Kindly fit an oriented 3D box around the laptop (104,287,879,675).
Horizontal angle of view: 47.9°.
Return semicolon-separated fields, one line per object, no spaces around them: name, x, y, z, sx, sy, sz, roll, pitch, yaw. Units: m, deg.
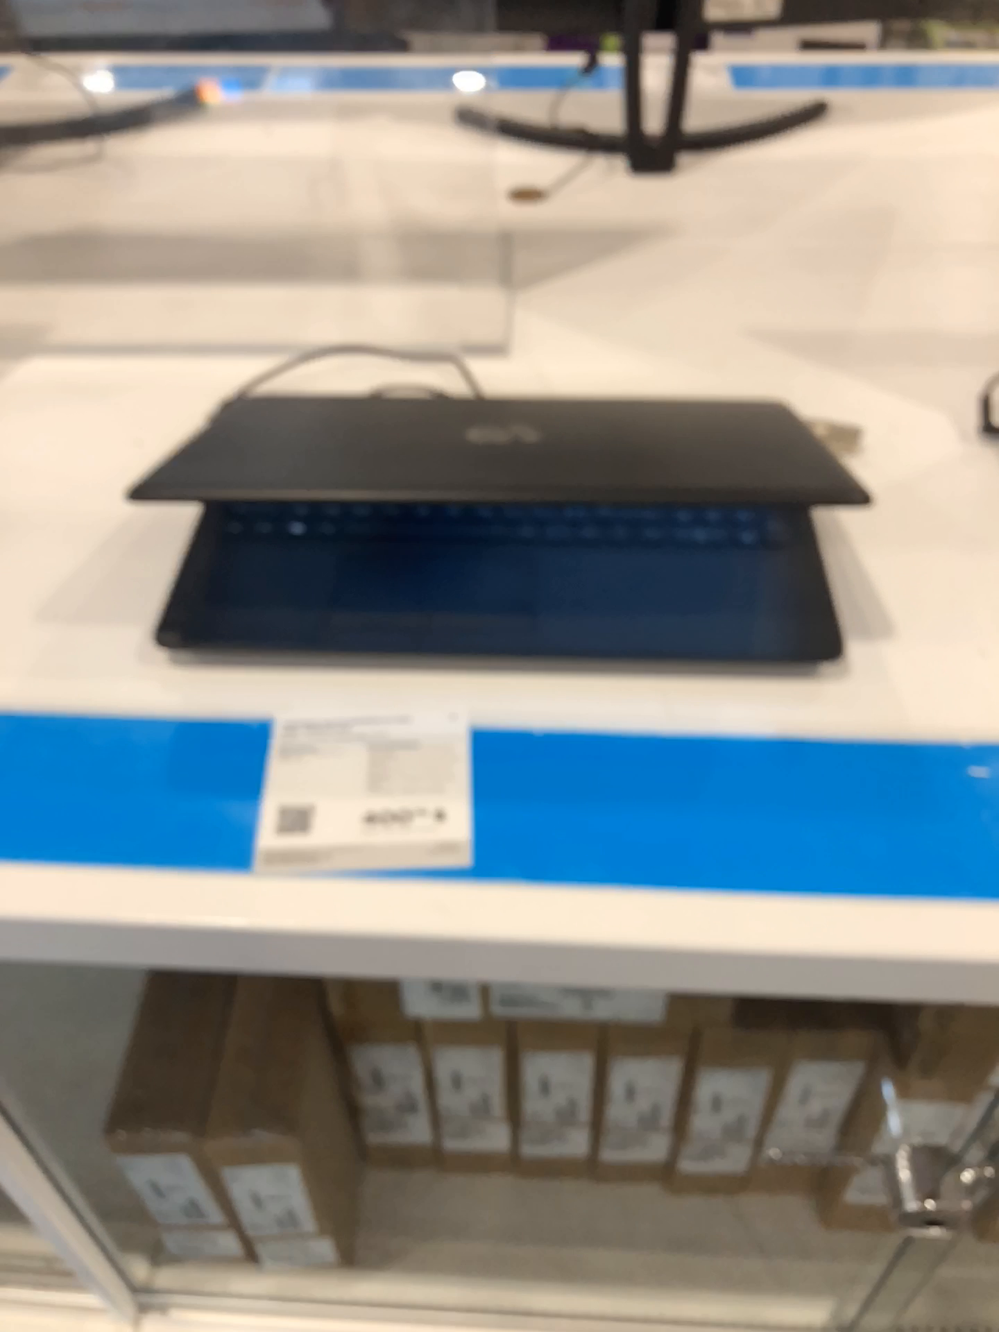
laptop;0.004;-0.114;0.647;0.365;0.091;0.235;2;44;-1
